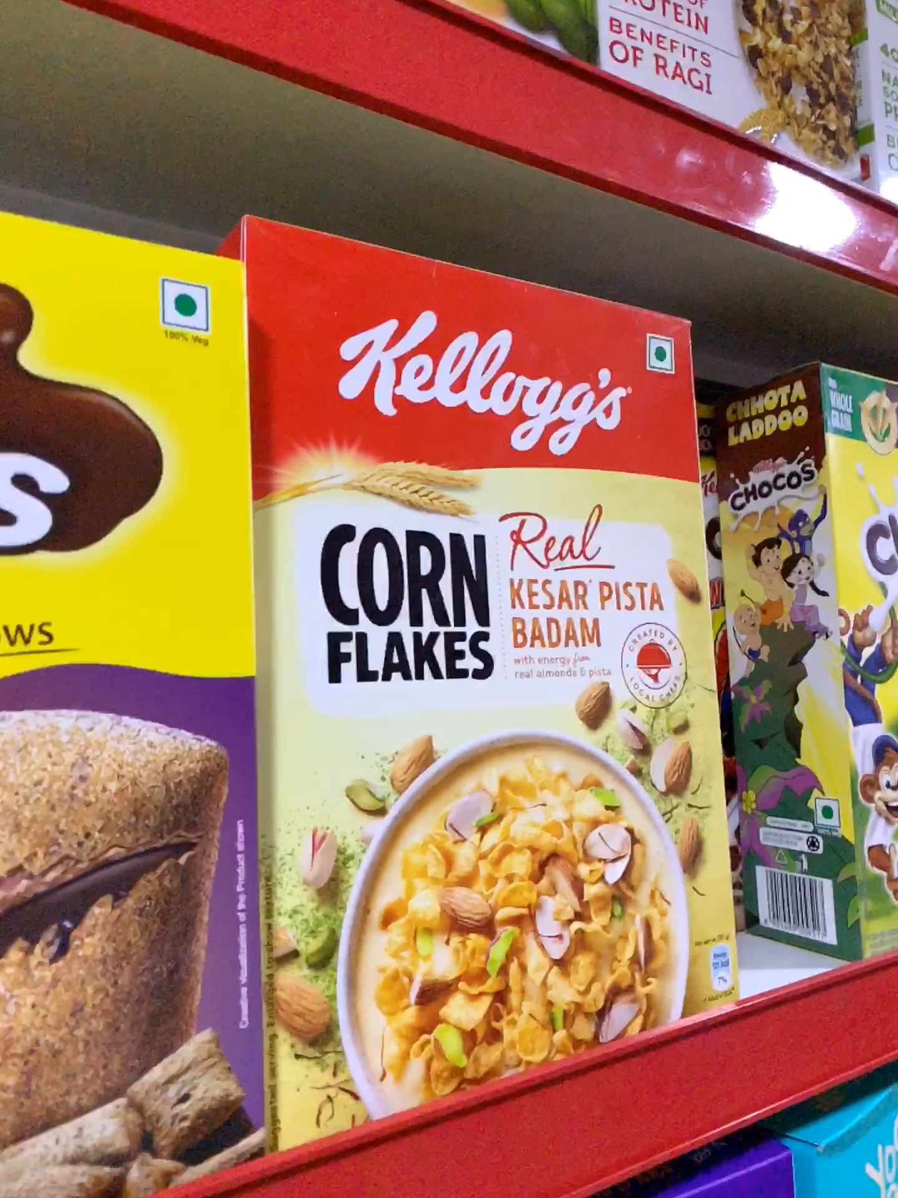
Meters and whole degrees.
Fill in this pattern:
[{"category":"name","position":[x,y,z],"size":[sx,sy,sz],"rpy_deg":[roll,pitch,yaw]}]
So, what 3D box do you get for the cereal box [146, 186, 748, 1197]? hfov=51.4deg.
[{"category":"cereal box","position":[0.002,0.022,0.306],"size":[0.180,0.251,0.070],"rpy_deg":[2,-7,-32]}]
